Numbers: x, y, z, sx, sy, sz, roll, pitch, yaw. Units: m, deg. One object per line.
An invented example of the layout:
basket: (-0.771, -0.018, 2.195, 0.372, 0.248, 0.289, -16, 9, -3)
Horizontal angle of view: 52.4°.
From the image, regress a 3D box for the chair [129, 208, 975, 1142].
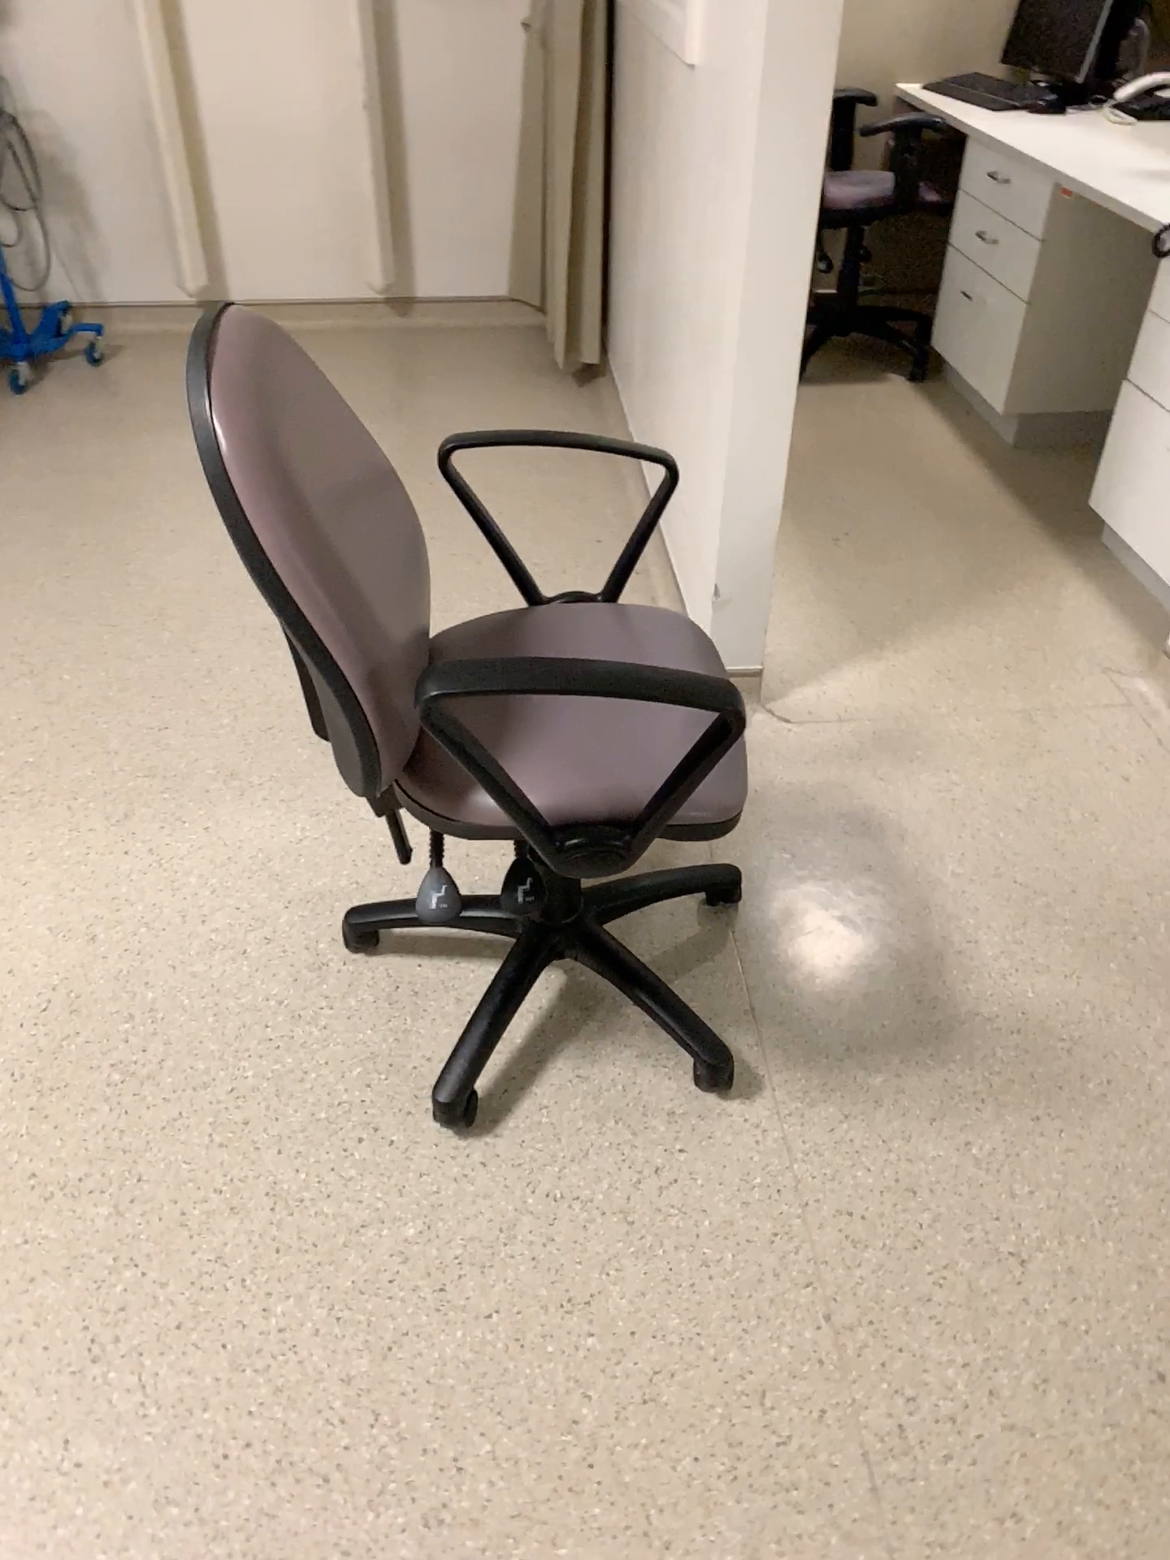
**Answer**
chair: (-0.049, -0.129, 1.441, 0.654, 0.899, 0.638, -3, 38, -4)
